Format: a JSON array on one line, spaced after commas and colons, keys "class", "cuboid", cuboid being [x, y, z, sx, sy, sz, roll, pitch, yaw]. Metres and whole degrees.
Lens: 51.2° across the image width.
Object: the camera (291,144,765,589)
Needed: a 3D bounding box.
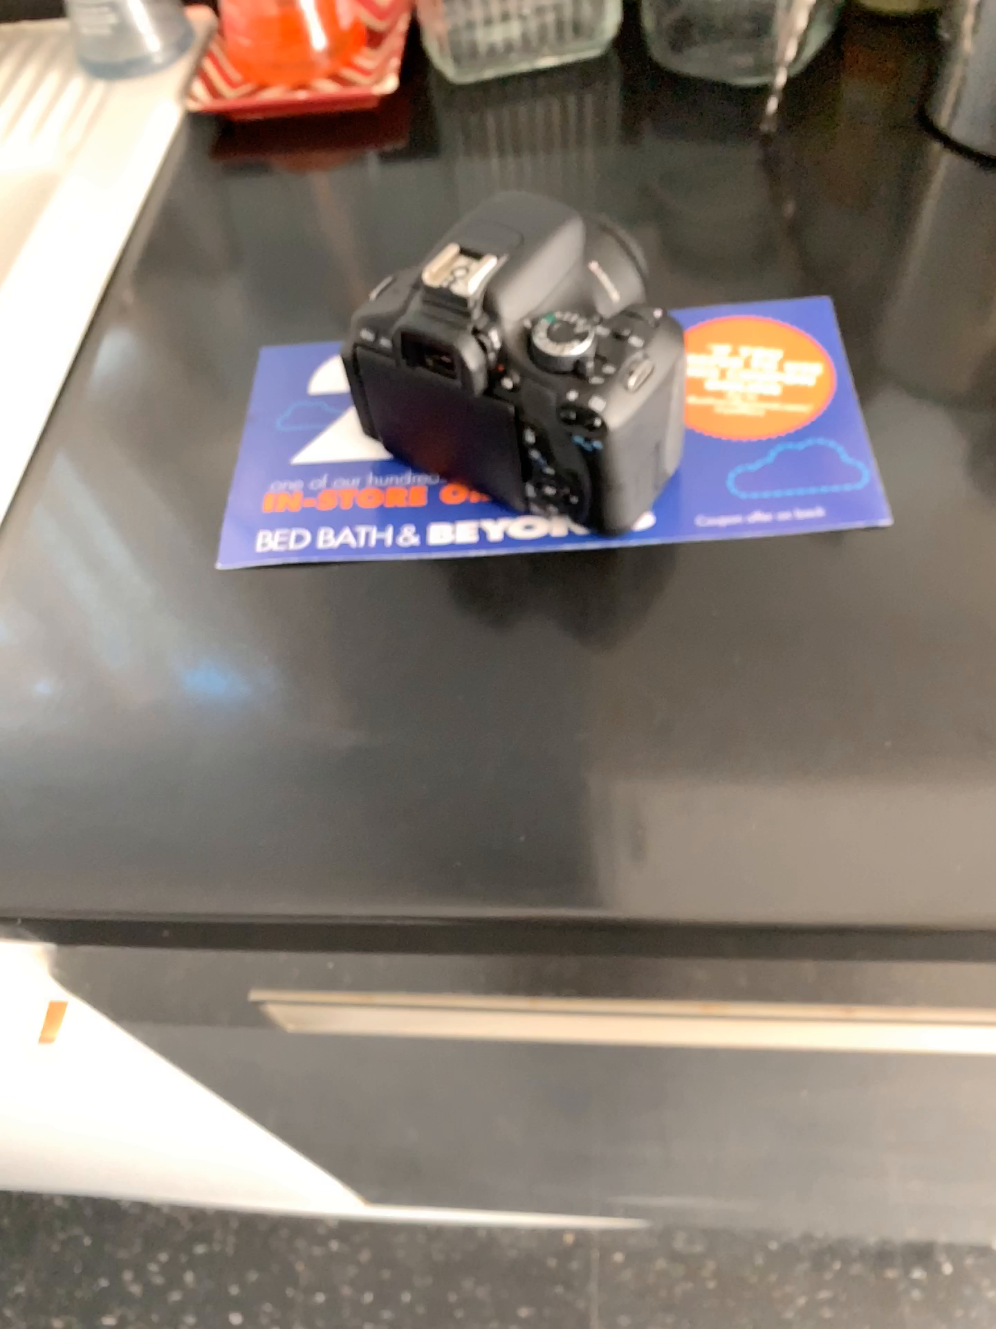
[{"class": "camera", "cuboid": [0.014, -0.118, 0.403, 0.133, 0.088, 0.103, 28, 63, 24]}]
